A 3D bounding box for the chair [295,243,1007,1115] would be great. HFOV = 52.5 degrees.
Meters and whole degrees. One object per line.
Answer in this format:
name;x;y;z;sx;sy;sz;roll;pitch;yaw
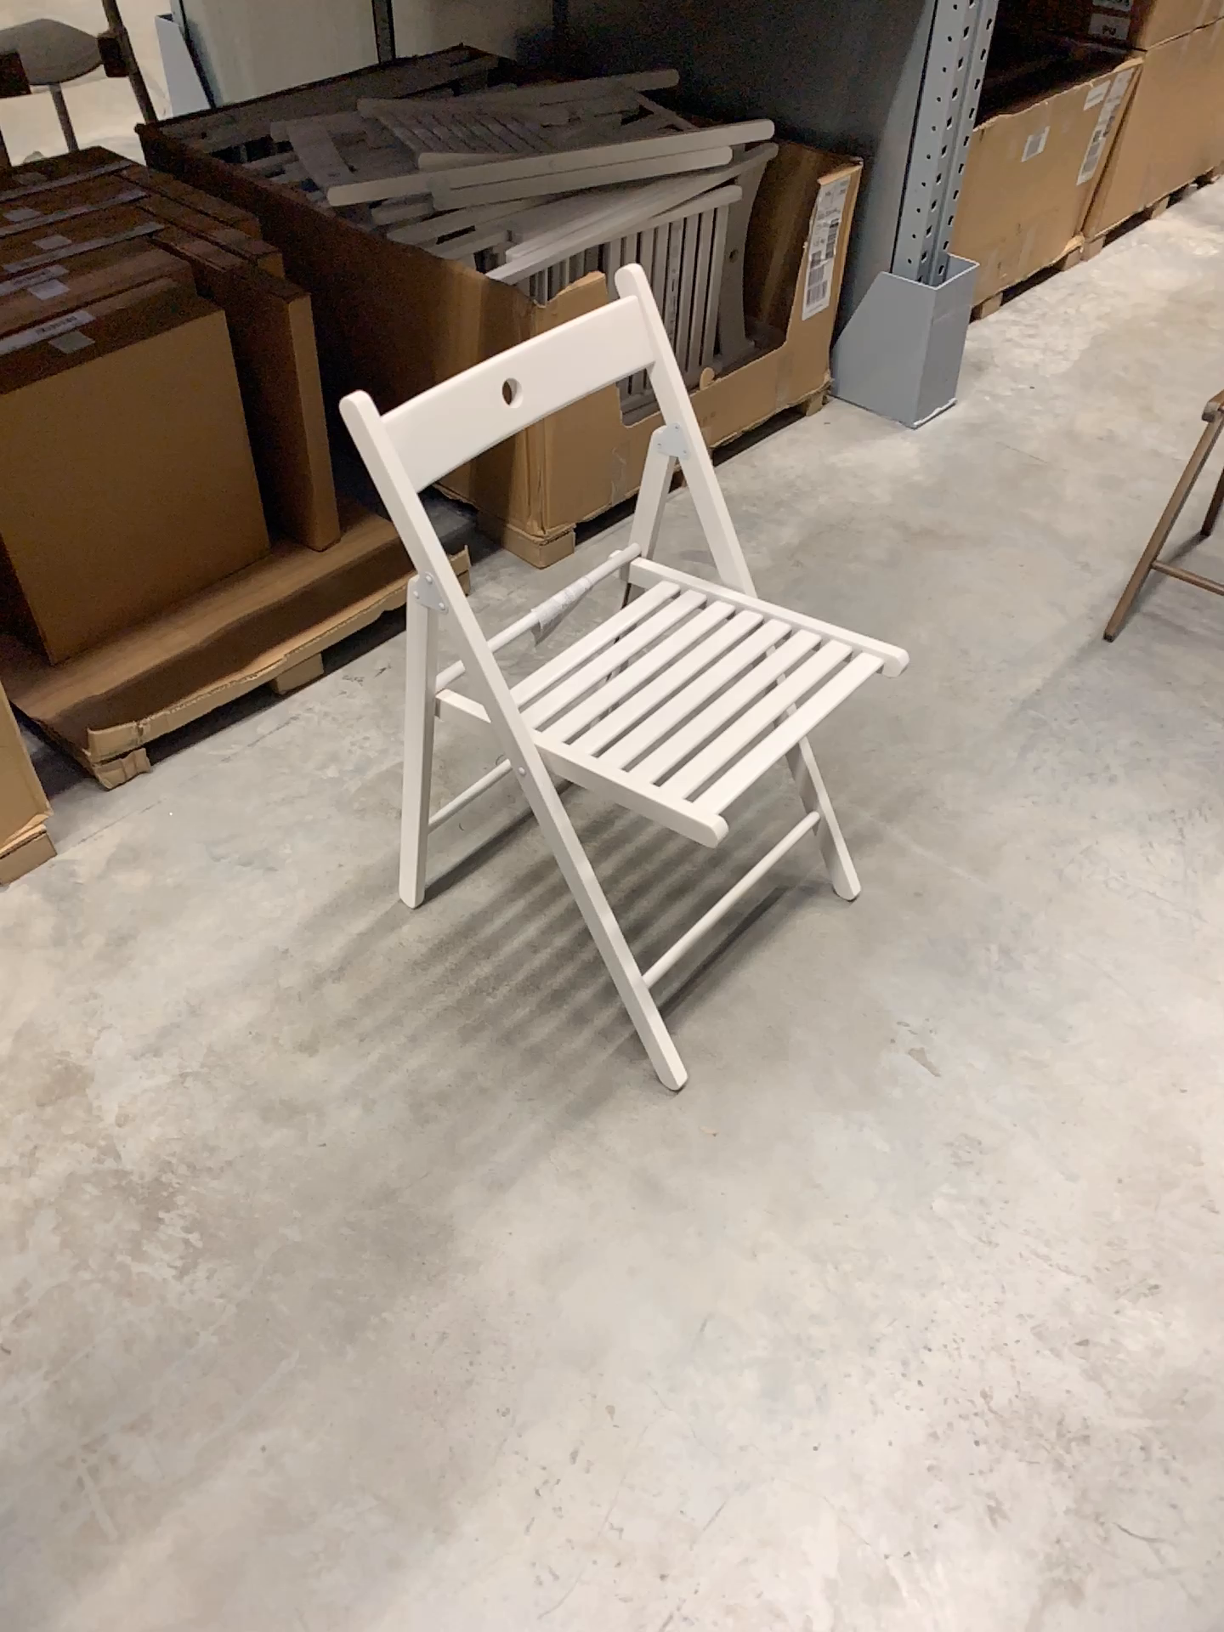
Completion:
chair;0.034;-0.141;1.358;0.471;0.707;0.431;31;52;27
